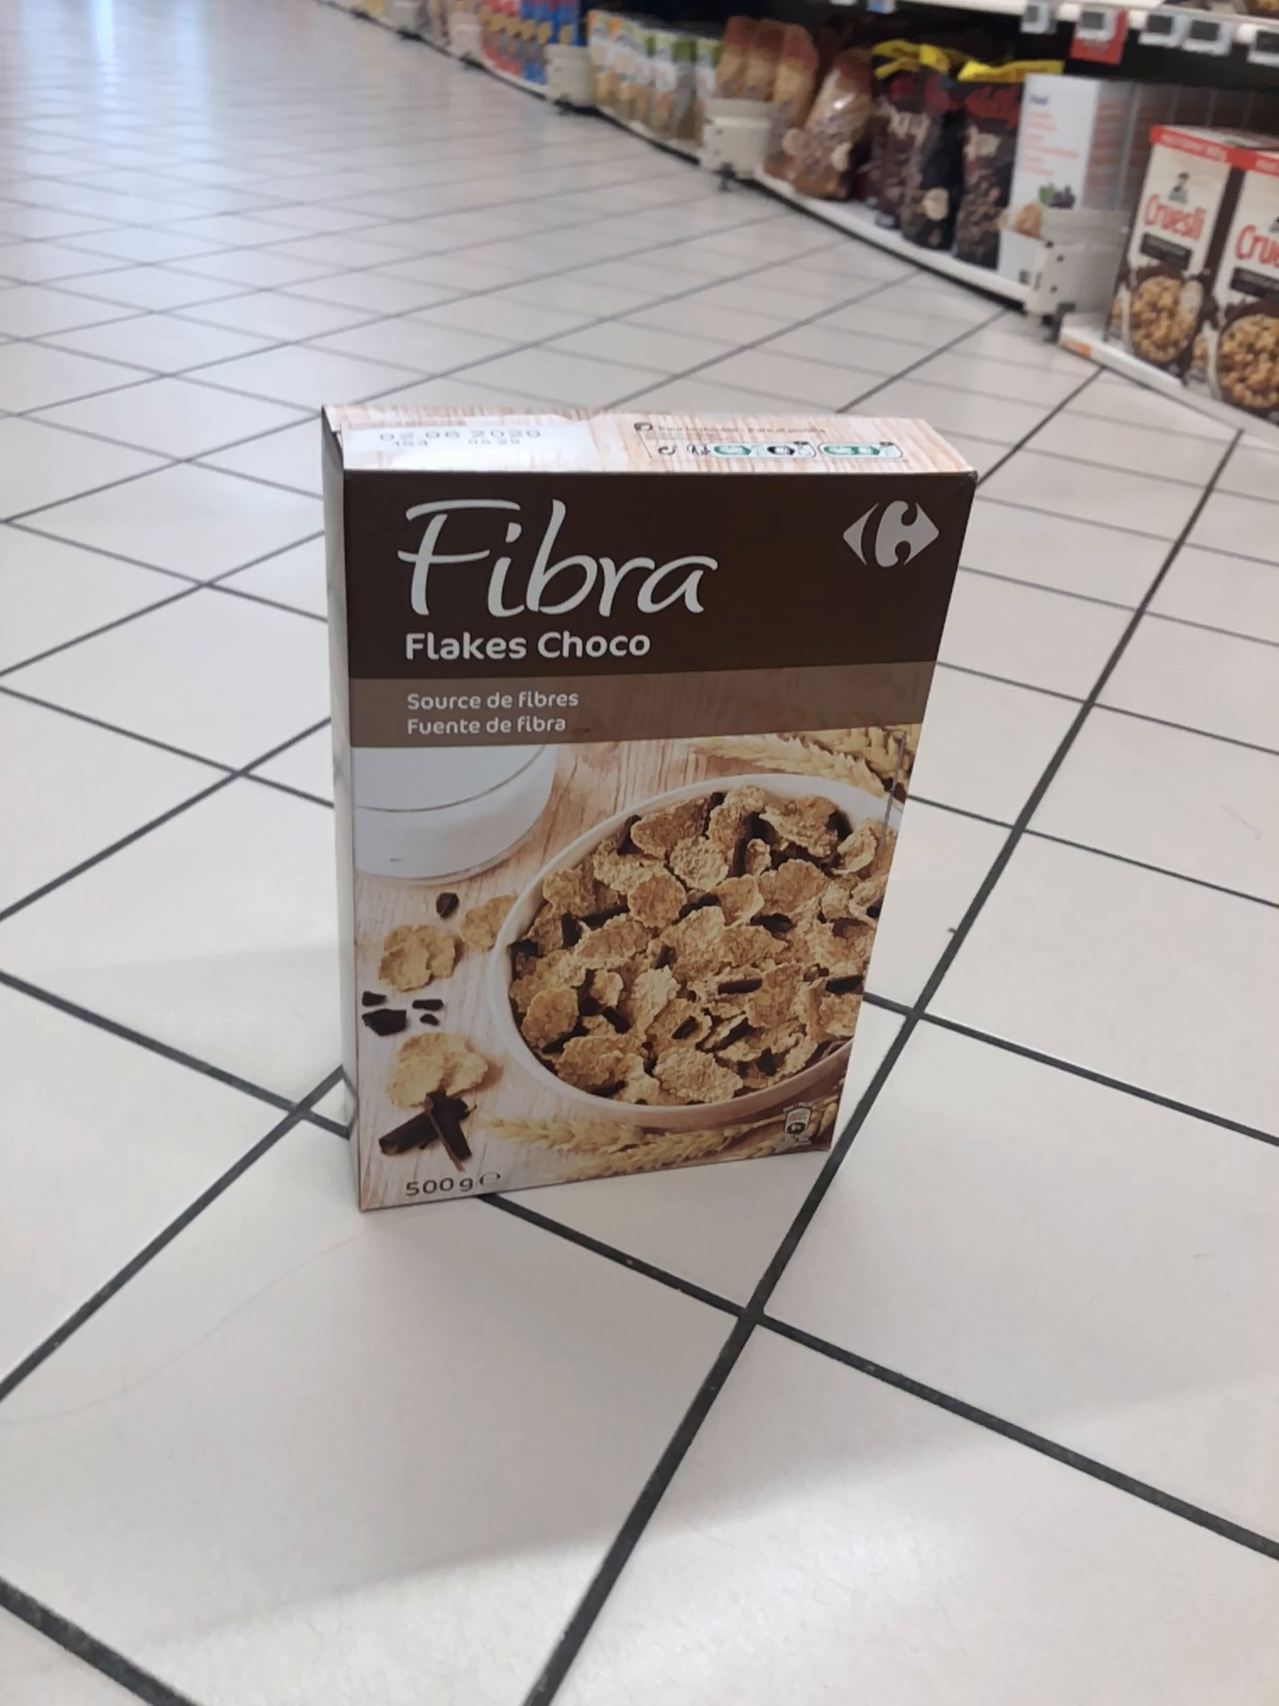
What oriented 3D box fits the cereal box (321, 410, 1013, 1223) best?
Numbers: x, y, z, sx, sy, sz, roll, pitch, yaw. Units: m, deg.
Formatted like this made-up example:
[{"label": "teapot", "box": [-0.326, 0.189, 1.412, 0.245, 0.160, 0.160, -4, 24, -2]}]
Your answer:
[{"label": "cereal box", "box": [-0.004, -0.006, 0.503, 0.200, 0.278, 0.070, -4, 34, -16]}]
